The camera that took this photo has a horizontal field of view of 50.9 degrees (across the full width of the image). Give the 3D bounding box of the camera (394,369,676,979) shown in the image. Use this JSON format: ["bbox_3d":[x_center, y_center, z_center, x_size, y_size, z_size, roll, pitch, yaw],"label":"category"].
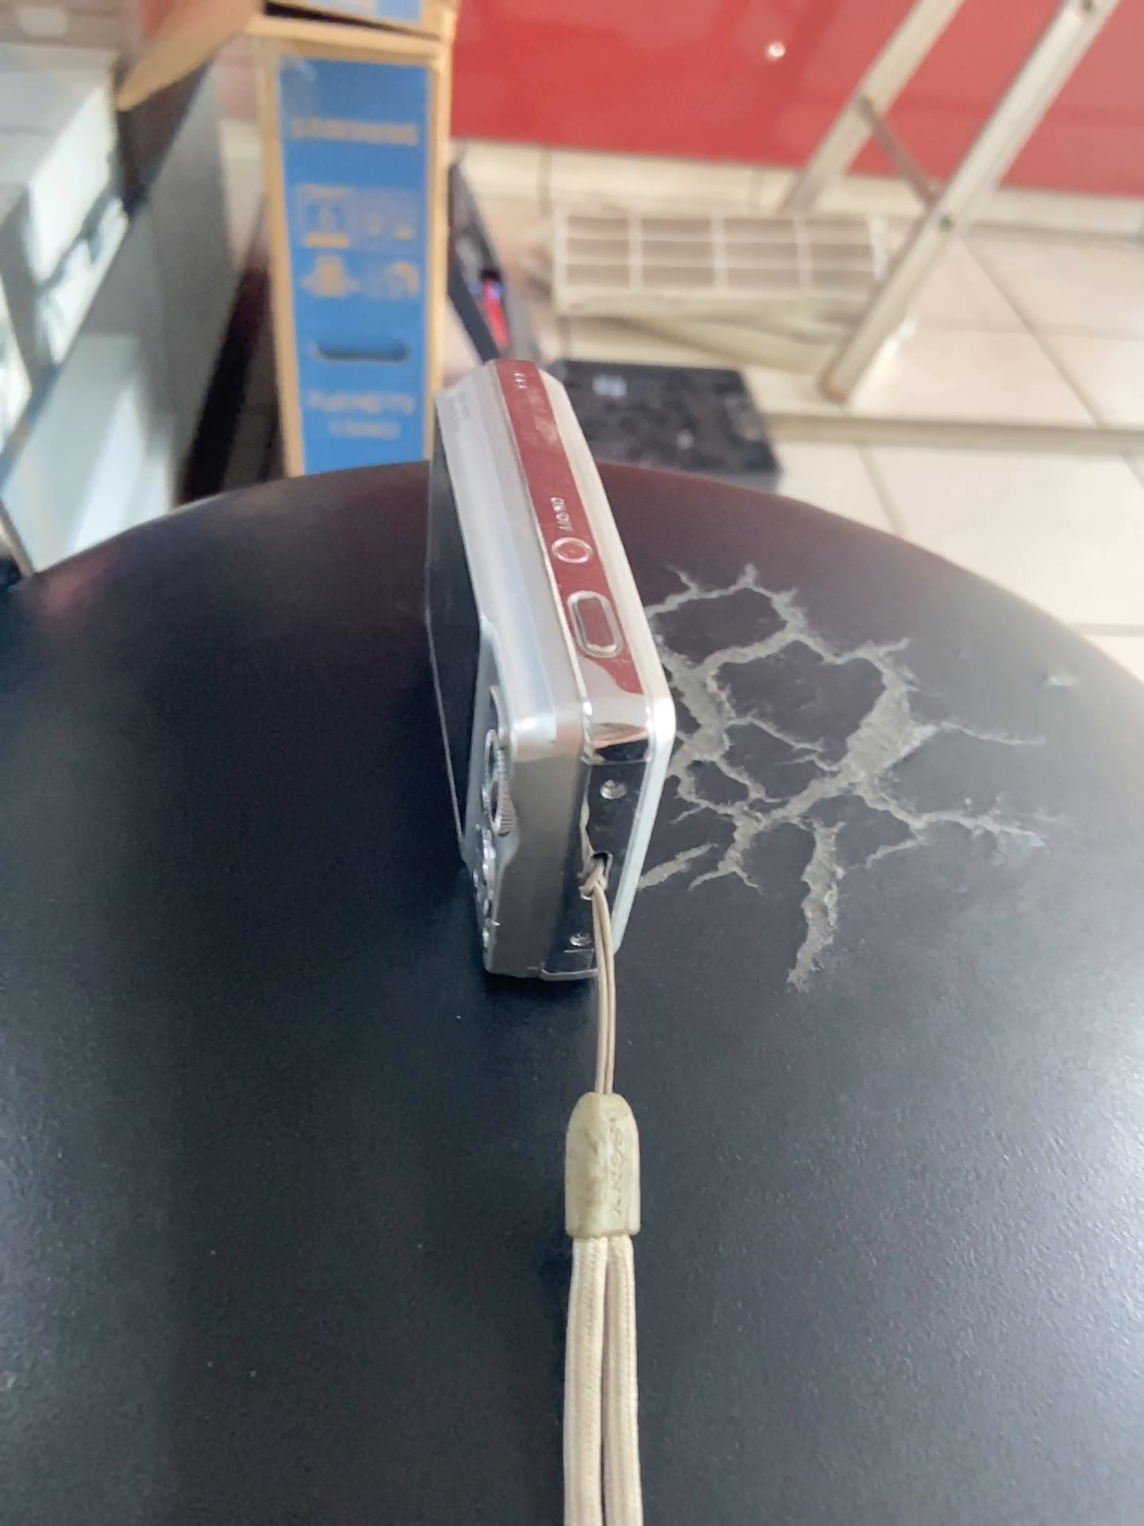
[{"bbox_3d":[-0.011,-0.019,0.189,0.026,0.044,0.093,-3,45,-12],"label":"camera"}]
